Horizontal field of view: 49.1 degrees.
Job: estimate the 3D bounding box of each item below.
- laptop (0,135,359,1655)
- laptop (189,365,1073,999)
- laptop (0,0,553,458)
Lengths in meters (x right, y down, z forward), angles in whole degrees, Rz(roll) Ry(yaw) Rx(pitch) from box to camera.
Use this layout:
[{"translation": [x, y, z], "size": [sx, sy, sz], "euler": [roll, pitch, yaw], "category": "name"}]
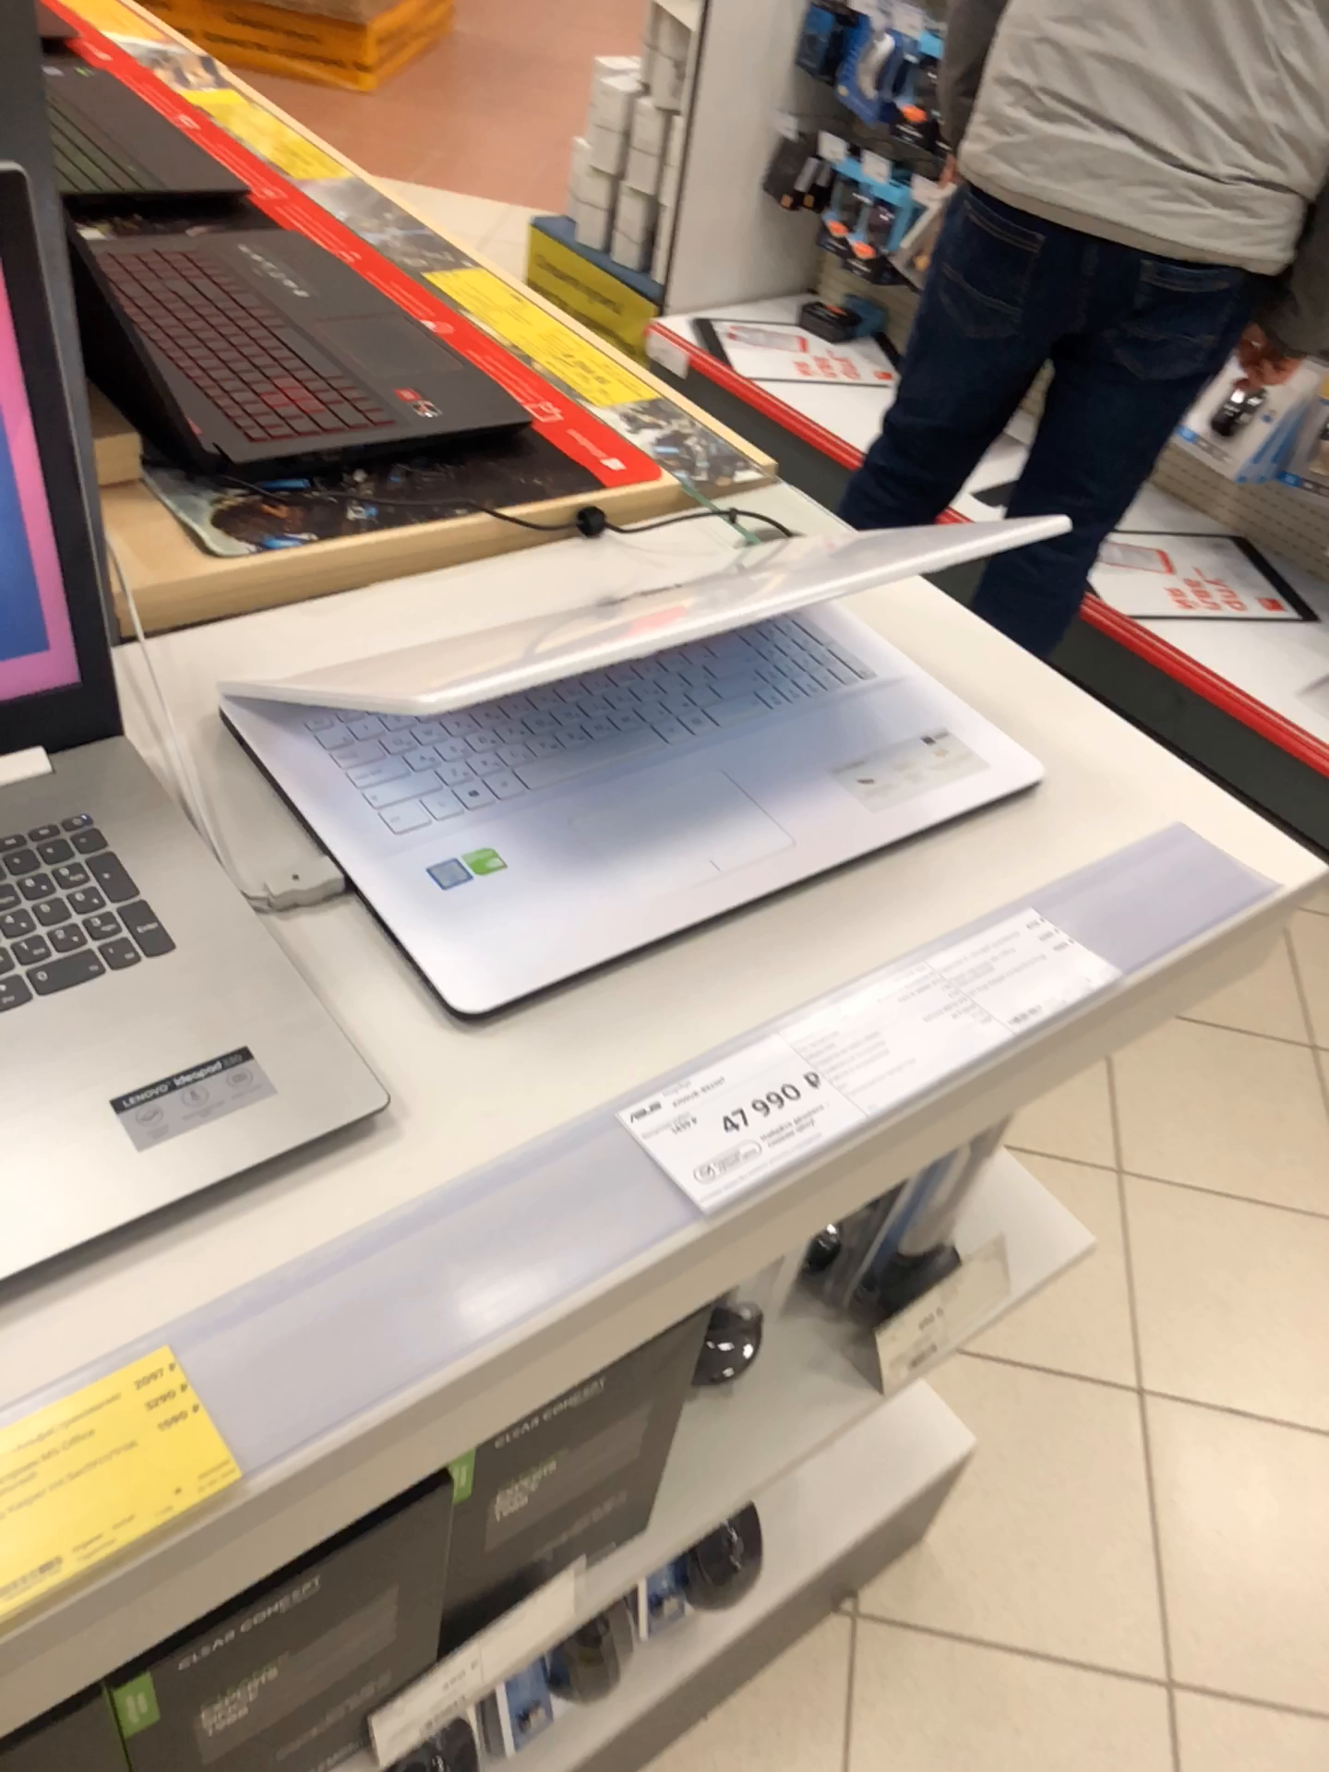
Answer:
[{"translation": [-0.377, -0.051, 0.482], "size": [0.393, 0.262, 0.337], "euler": [-24, 52, -35], "category": "laptop"}, {"translation": [-0.014, -0.140, 0.789], "size": [0.392, 0.142, 0.257], "euler": [-22, 51, -35], "category": "laptop"}, {"translation": [-0.363, -0.503, 1.001], "size": [0.366, 0.220, 0.378], "euler": [-17, 51, -29], "category": "laptop"}]
